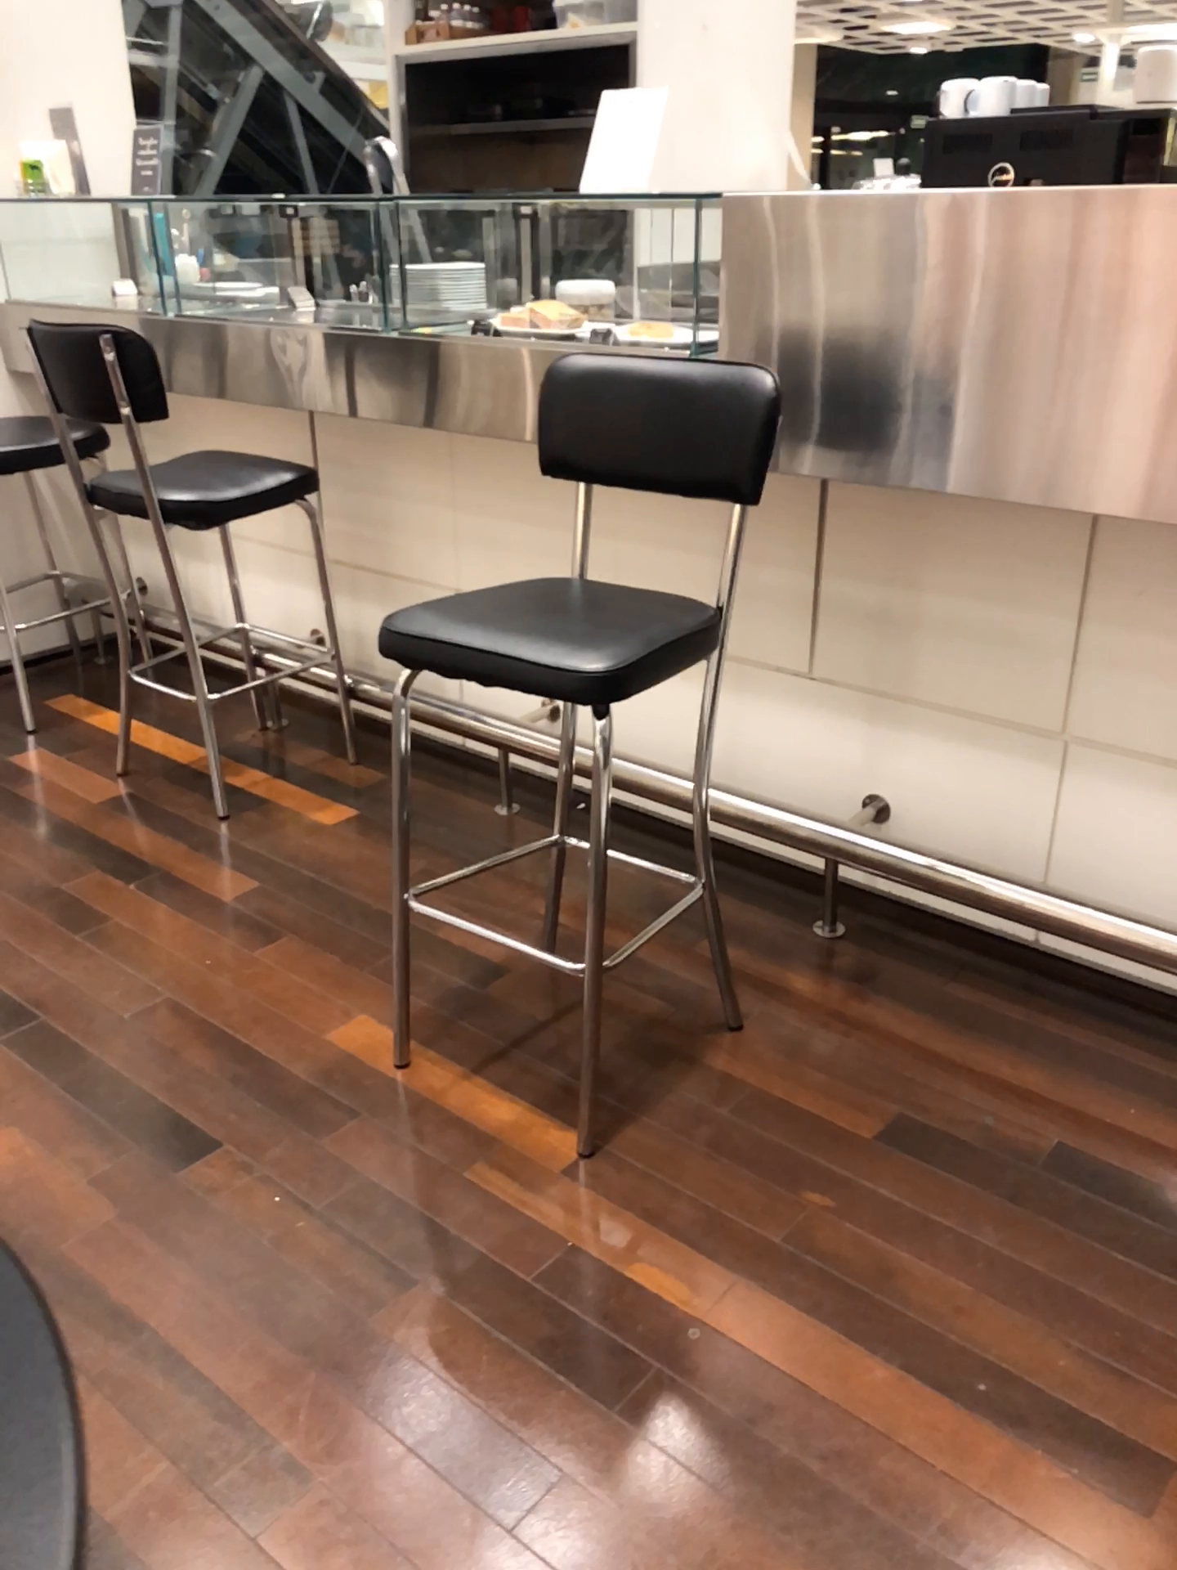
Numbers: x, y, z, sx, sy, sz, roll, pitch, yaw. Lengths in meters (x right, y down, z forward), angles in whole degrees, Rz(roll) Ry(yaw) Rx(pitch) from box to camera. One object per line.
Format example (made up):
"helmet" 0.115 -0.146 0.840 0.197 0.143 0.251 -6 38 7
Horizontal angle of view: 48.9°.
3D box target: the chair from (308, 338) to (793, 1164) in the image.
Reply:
"chair" -0.034 -0.079 1.850 0.421 1.013 0.472 16 27 34
